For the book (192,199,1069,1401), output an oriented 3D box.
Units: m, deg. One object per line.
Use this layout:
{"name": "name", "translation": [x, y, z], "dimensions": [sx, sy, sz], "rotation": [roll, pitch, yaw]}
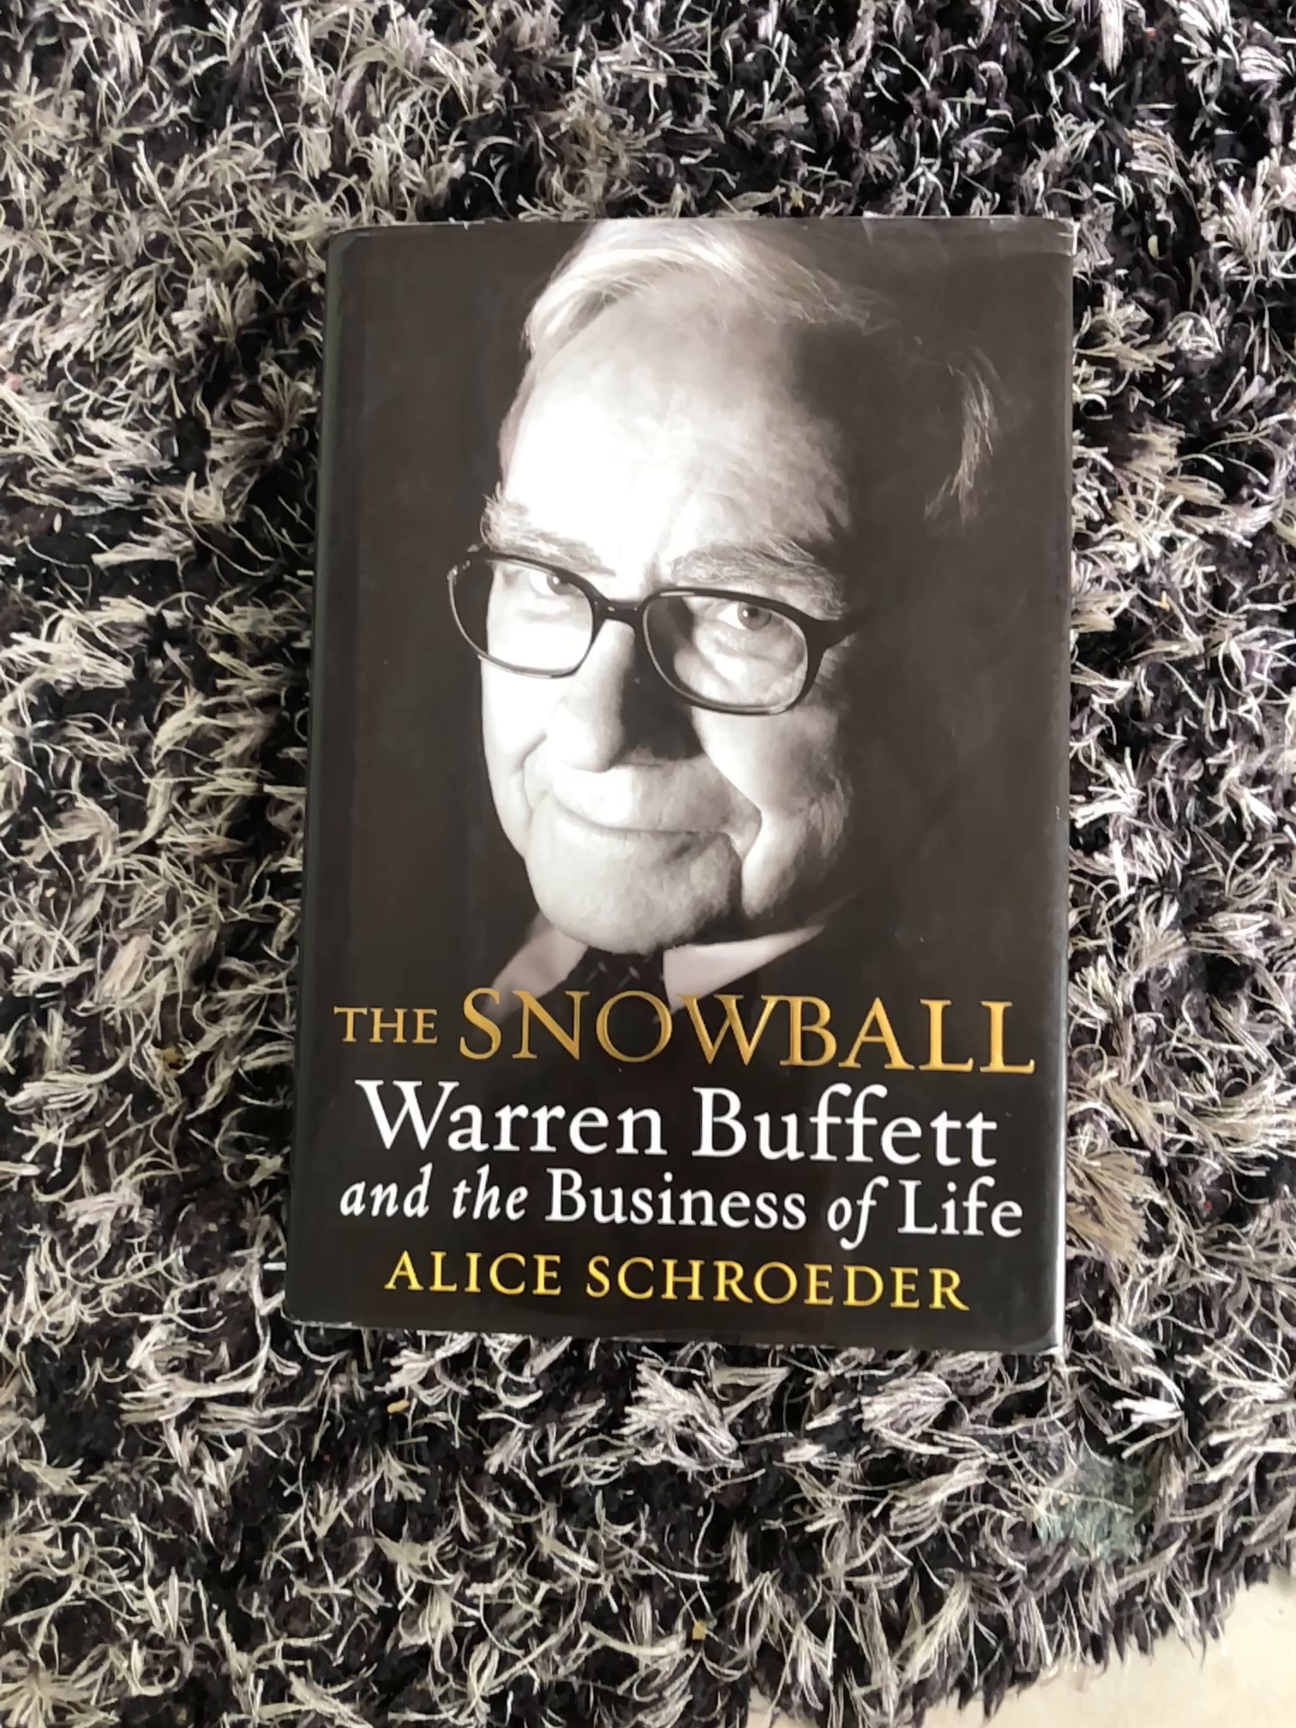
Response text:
{"name": "book", "translation": [-0.001, -0.016, 0.331], "dimensions": [0.180, 0.060, 0.250], "rotation": [1, 87, 3]}
